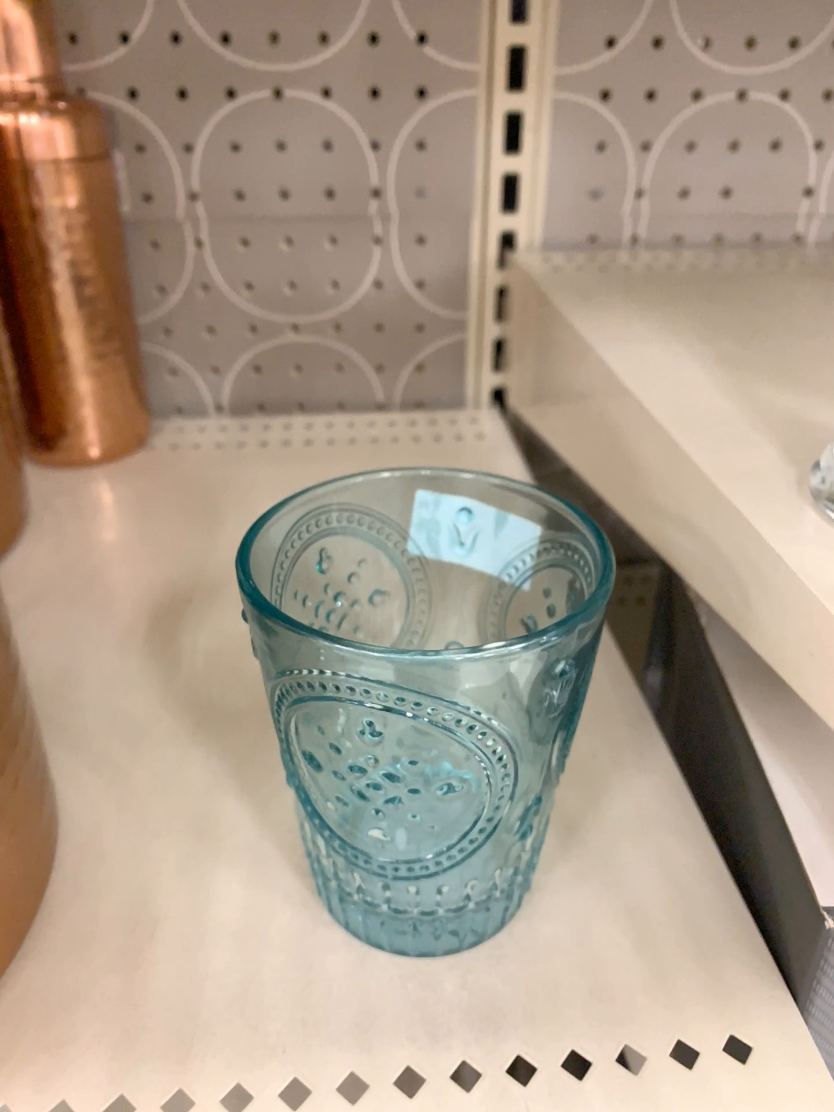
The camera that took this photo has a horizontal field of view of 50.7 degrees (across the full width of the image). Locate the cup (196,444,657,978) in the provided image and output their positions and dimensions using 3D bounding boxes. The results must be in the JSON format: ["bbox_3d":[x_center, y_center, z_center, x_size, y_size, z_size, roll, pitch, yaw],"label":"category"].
[{"bbox_3d":[0.000,0.033,0.205,0.078,0.091,0.076,0,32,0],"label":"cup"}]
